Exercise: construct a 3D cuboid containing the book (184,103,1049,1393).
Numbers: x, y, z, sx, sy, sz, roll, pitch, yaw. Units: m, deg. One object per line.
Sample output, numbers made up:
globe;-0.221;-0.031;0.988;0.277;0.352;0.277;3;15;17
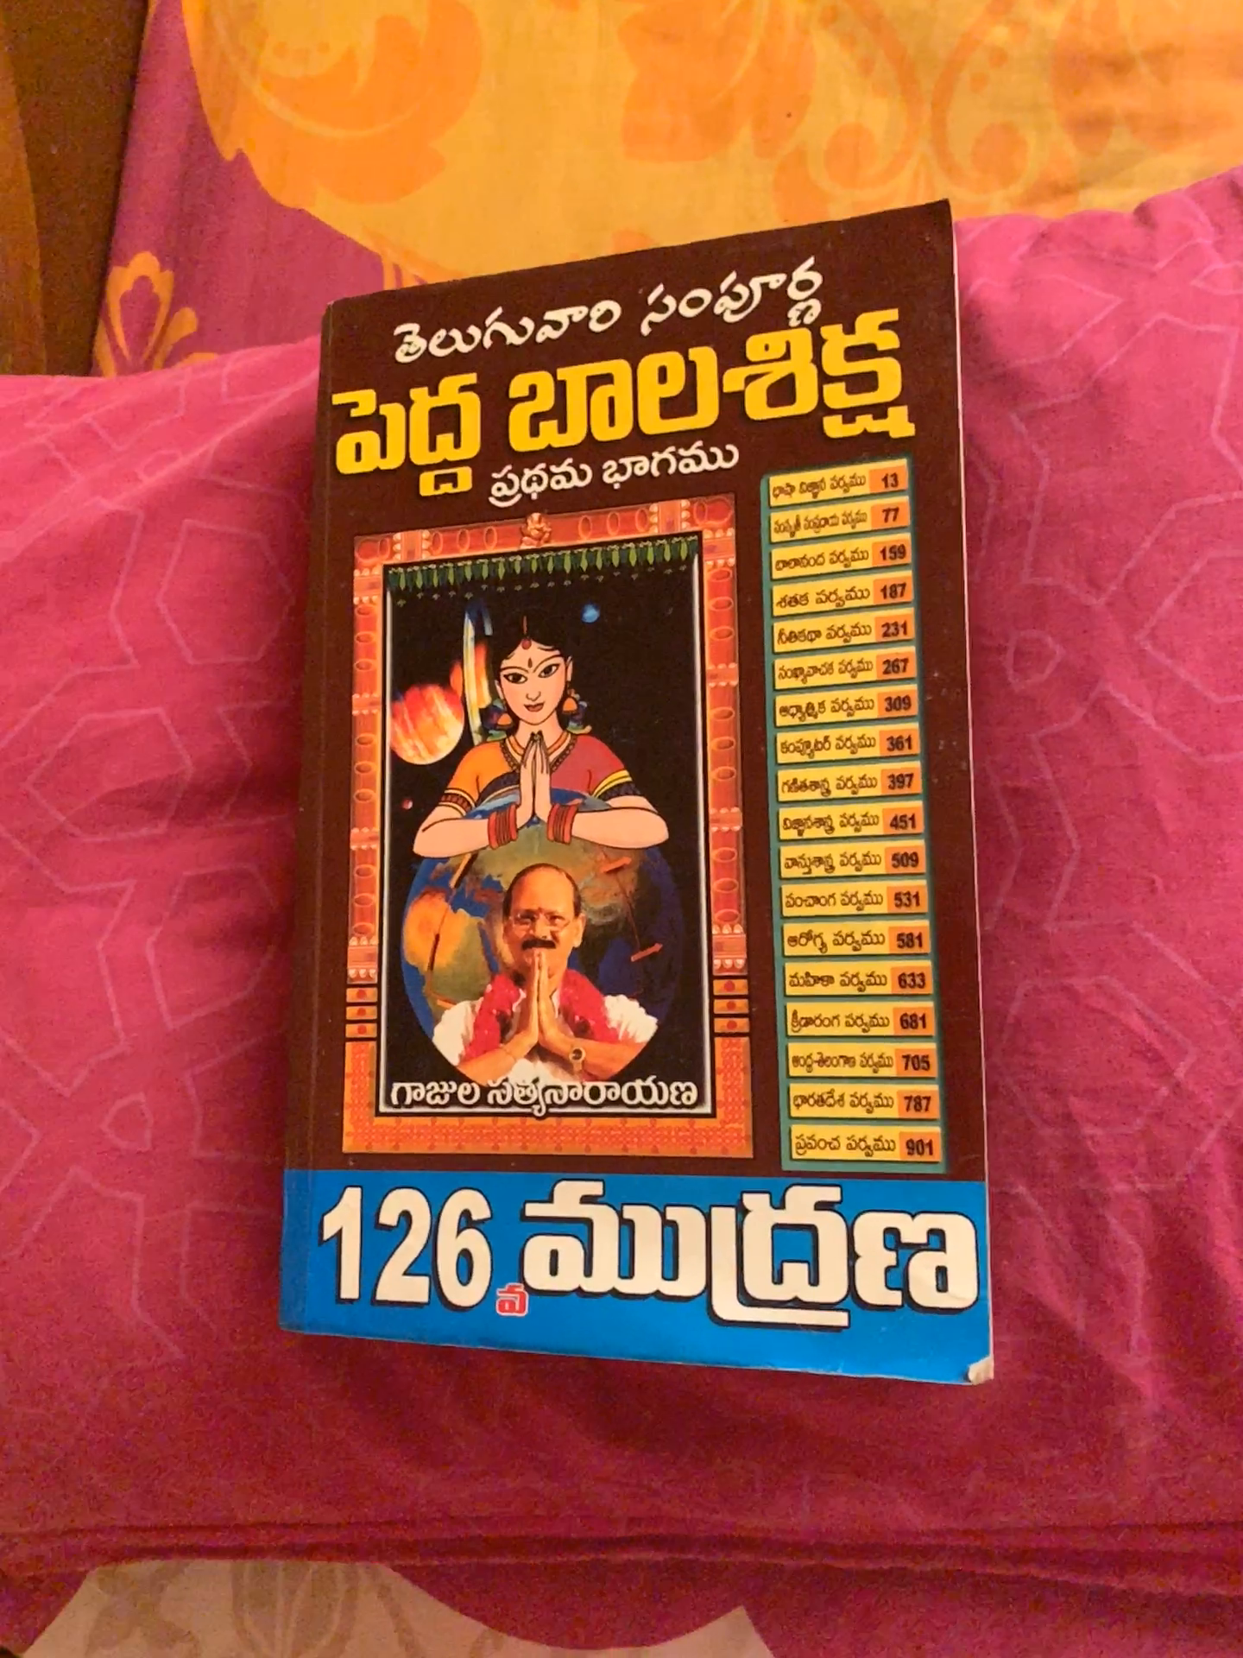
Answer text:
book;-0.001;-0.020;0.302;0.180;0.050;0.260;-2;80;16
